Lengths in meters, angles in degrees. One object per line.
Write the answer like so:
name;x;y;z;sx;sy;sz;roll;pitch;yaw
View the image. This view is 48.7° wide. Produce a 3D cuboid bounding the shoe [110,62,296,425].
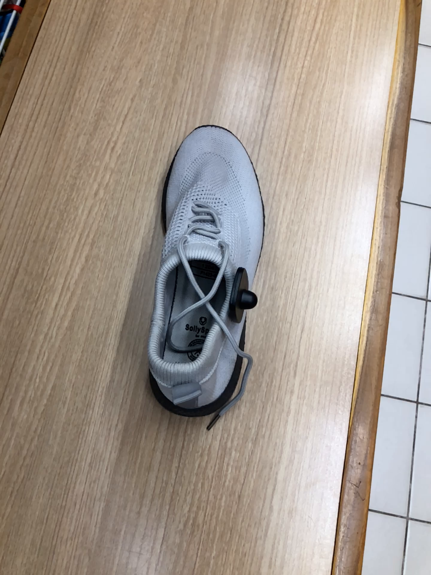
shoe;-0.006;-0.028;0.399;0.106;0.122;0.265;6;74;-2
